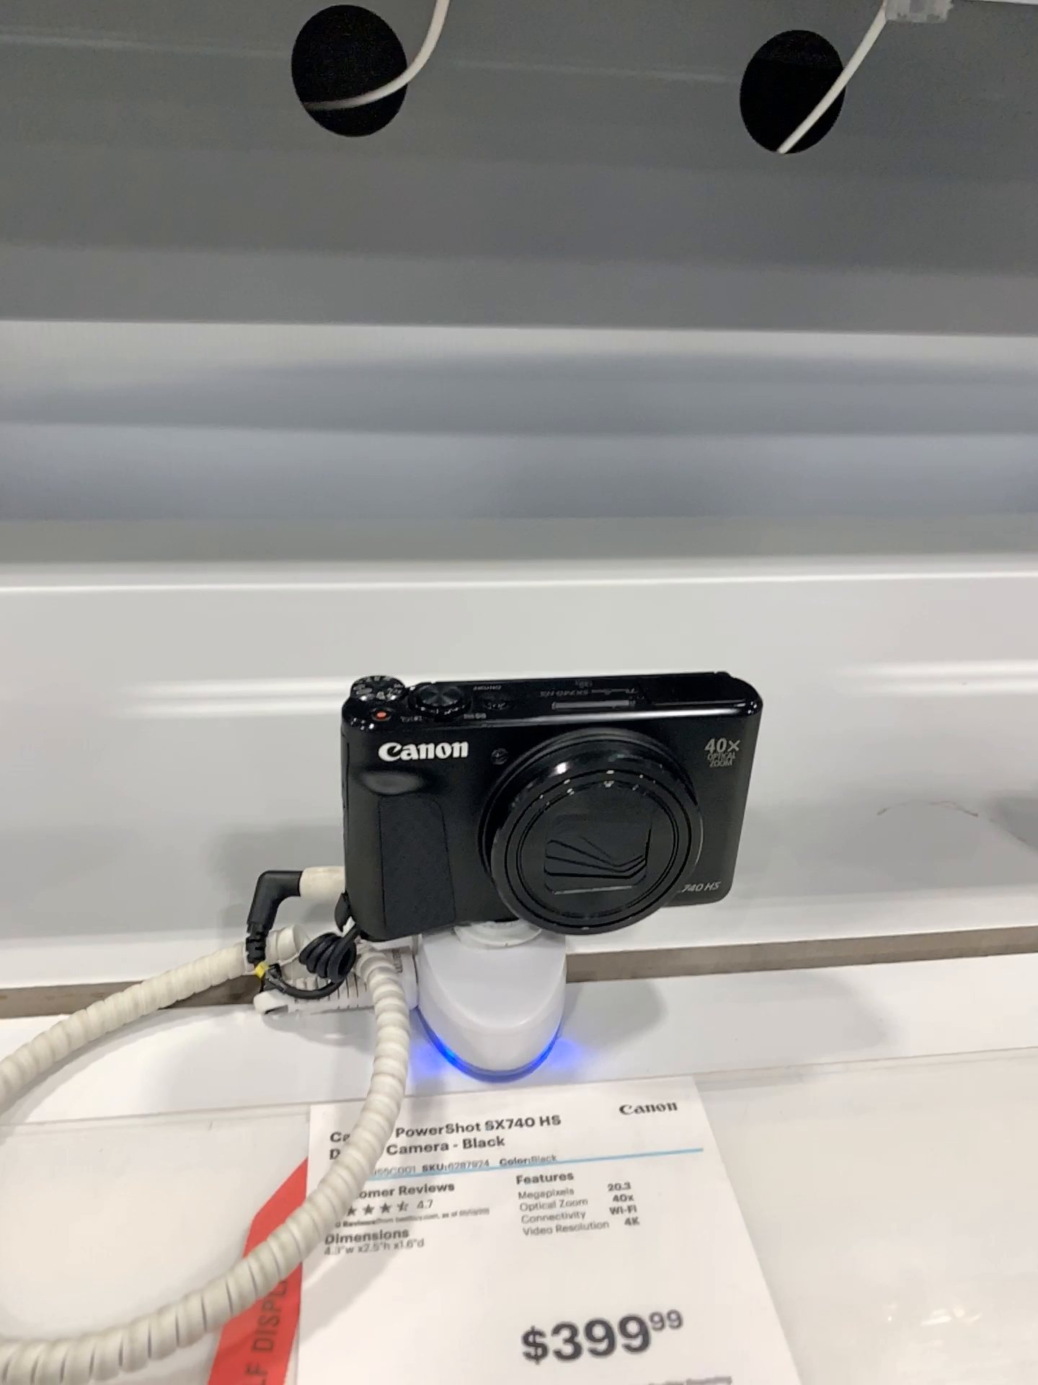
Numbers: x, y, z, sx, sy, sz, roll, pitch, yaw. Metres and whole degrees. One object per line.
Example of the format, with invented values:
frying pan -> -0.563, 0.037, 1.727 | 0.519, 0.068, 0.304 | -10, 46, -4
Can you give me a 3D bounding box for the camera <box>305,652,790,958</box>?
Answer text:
camera -> 0.004, 0.028, 0.293 | 0.120, 0.064, 0.042 | -2, 27, -10
